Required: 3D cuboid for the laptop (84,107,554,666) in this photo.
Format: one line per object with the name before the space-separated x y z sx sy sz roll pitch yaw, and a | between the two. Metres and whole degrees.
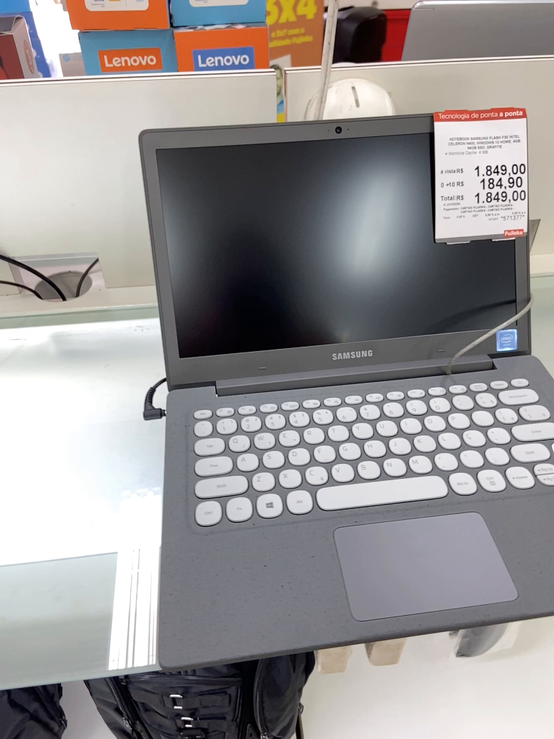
laptop | 0.073 -0.029 0.400 0.324 0.172 0.342 -6 41 -4
